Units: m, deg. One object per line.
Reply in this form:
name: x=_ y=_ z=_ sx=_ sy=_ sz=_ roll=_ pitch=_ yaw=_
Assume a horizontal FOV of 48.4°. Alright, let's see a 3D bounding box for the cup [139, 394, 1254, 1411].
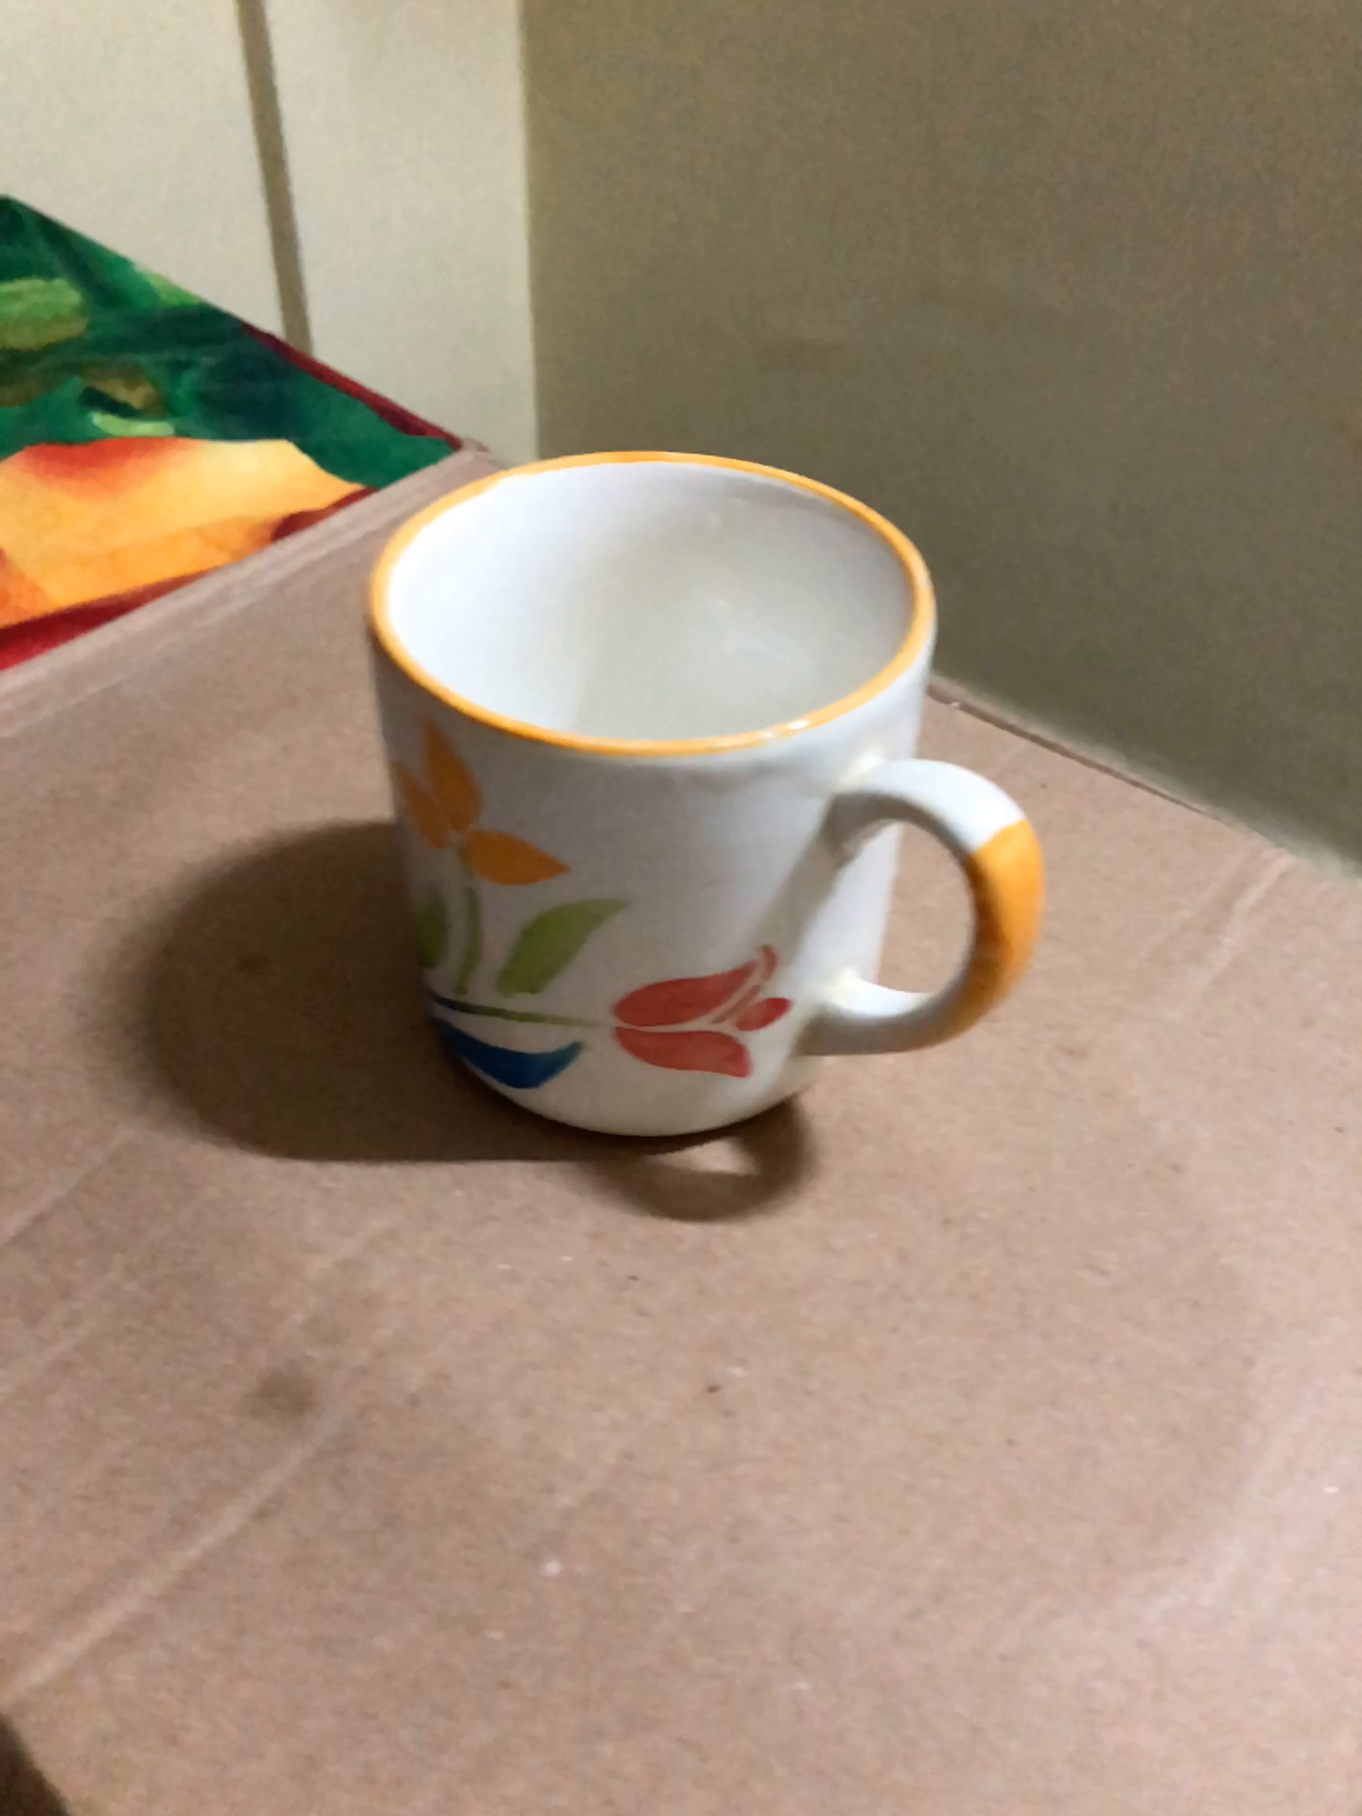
cup: x=0.002 y=-0.011 z=0.228 sx=0.120 sy=0.079 sz=0.091 roll=26 pitch=45 yaw=27
